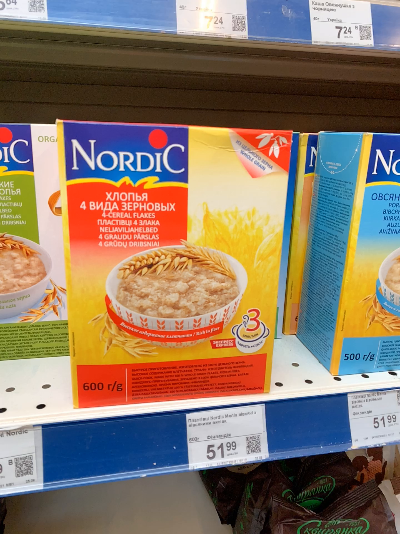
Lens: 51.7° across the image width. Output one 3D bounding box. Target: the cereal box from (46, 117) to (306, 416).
[{"bbox_3d":[-0.018,-0.005,0.301,0.150,0.189,0.080,-1,17,-9],"label":"cereal box"}]
